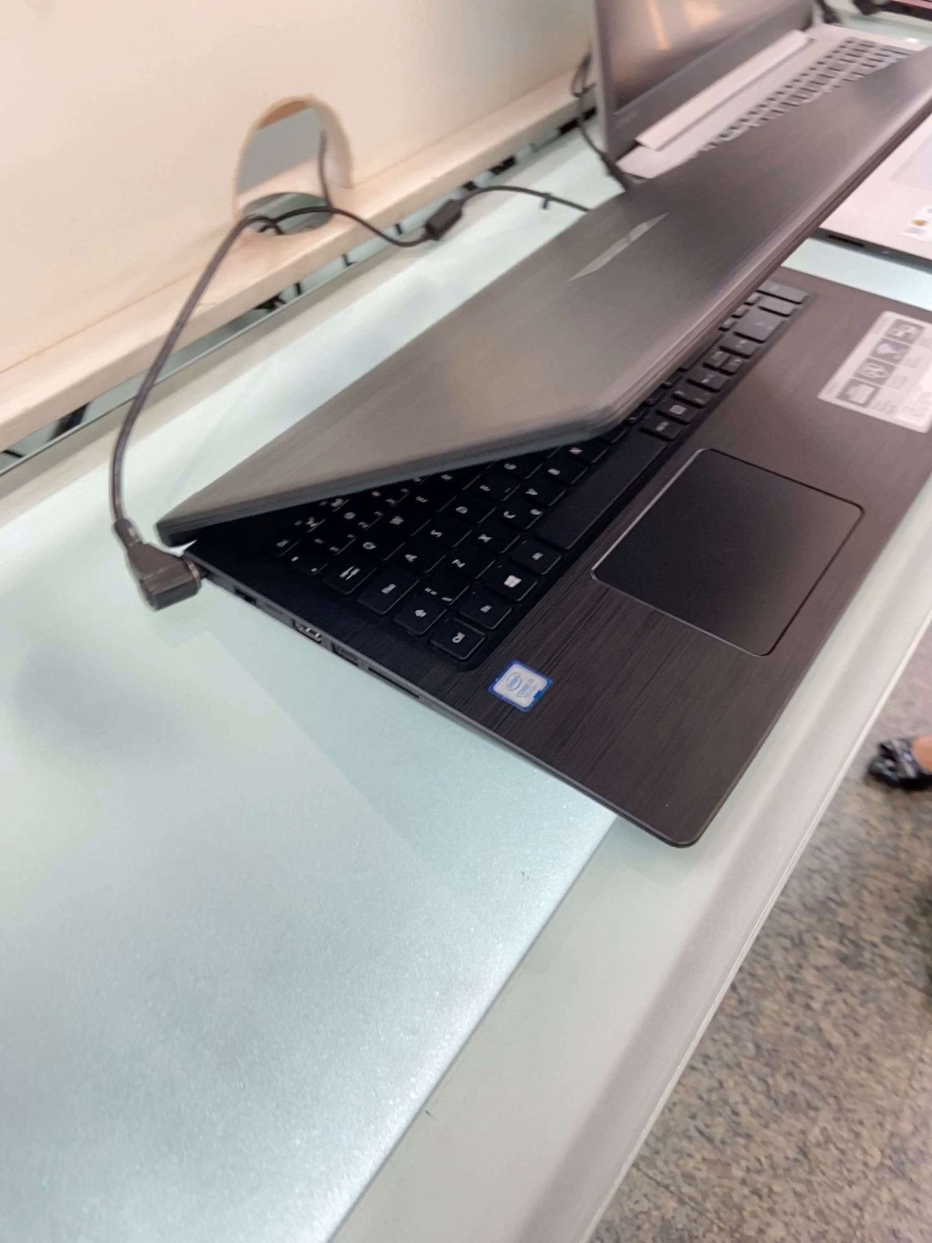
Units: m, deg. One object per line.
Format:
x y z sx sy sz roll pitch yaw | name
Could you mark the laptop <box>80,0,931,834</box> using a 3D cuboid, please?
0.083 -0.142 0.401 0.232 0.142 0.368 27 53 23 | laptop
